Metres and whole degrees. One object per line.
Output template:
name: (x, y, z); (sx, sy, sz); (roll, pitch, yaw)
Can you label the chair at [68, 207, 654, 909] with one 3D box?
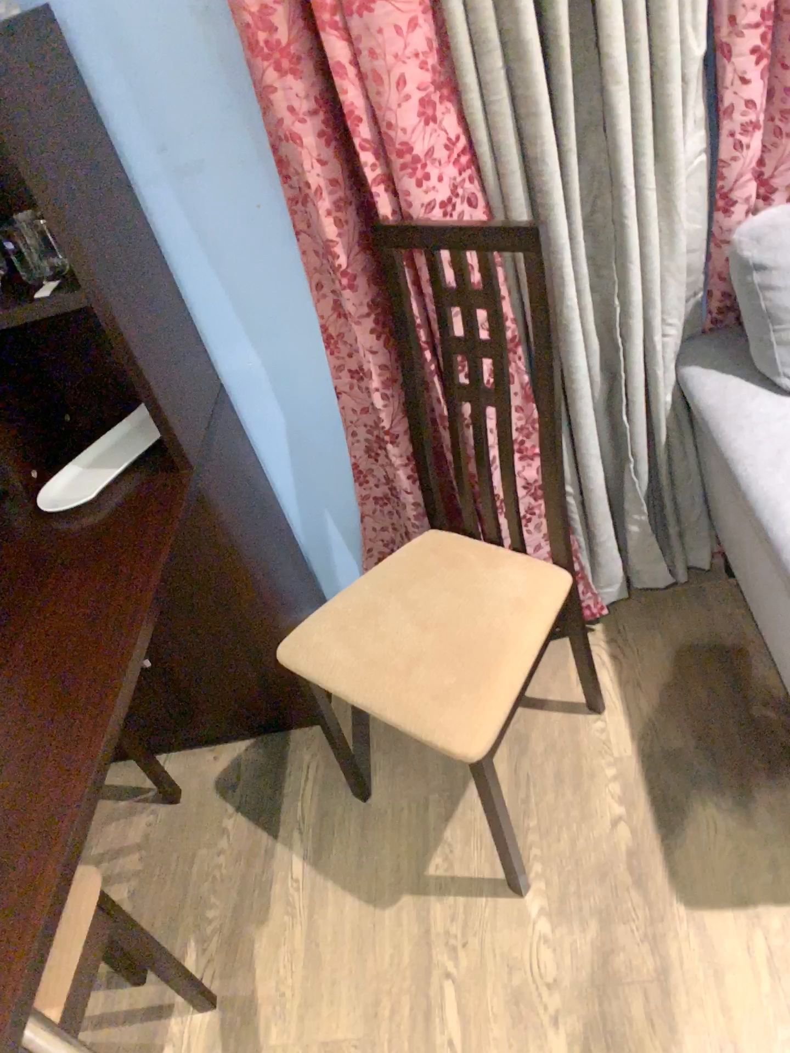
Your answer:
chair: (0.040, 0.060, 1.343); (0.532, 0.976, 0.511); (16, 49, 37)
